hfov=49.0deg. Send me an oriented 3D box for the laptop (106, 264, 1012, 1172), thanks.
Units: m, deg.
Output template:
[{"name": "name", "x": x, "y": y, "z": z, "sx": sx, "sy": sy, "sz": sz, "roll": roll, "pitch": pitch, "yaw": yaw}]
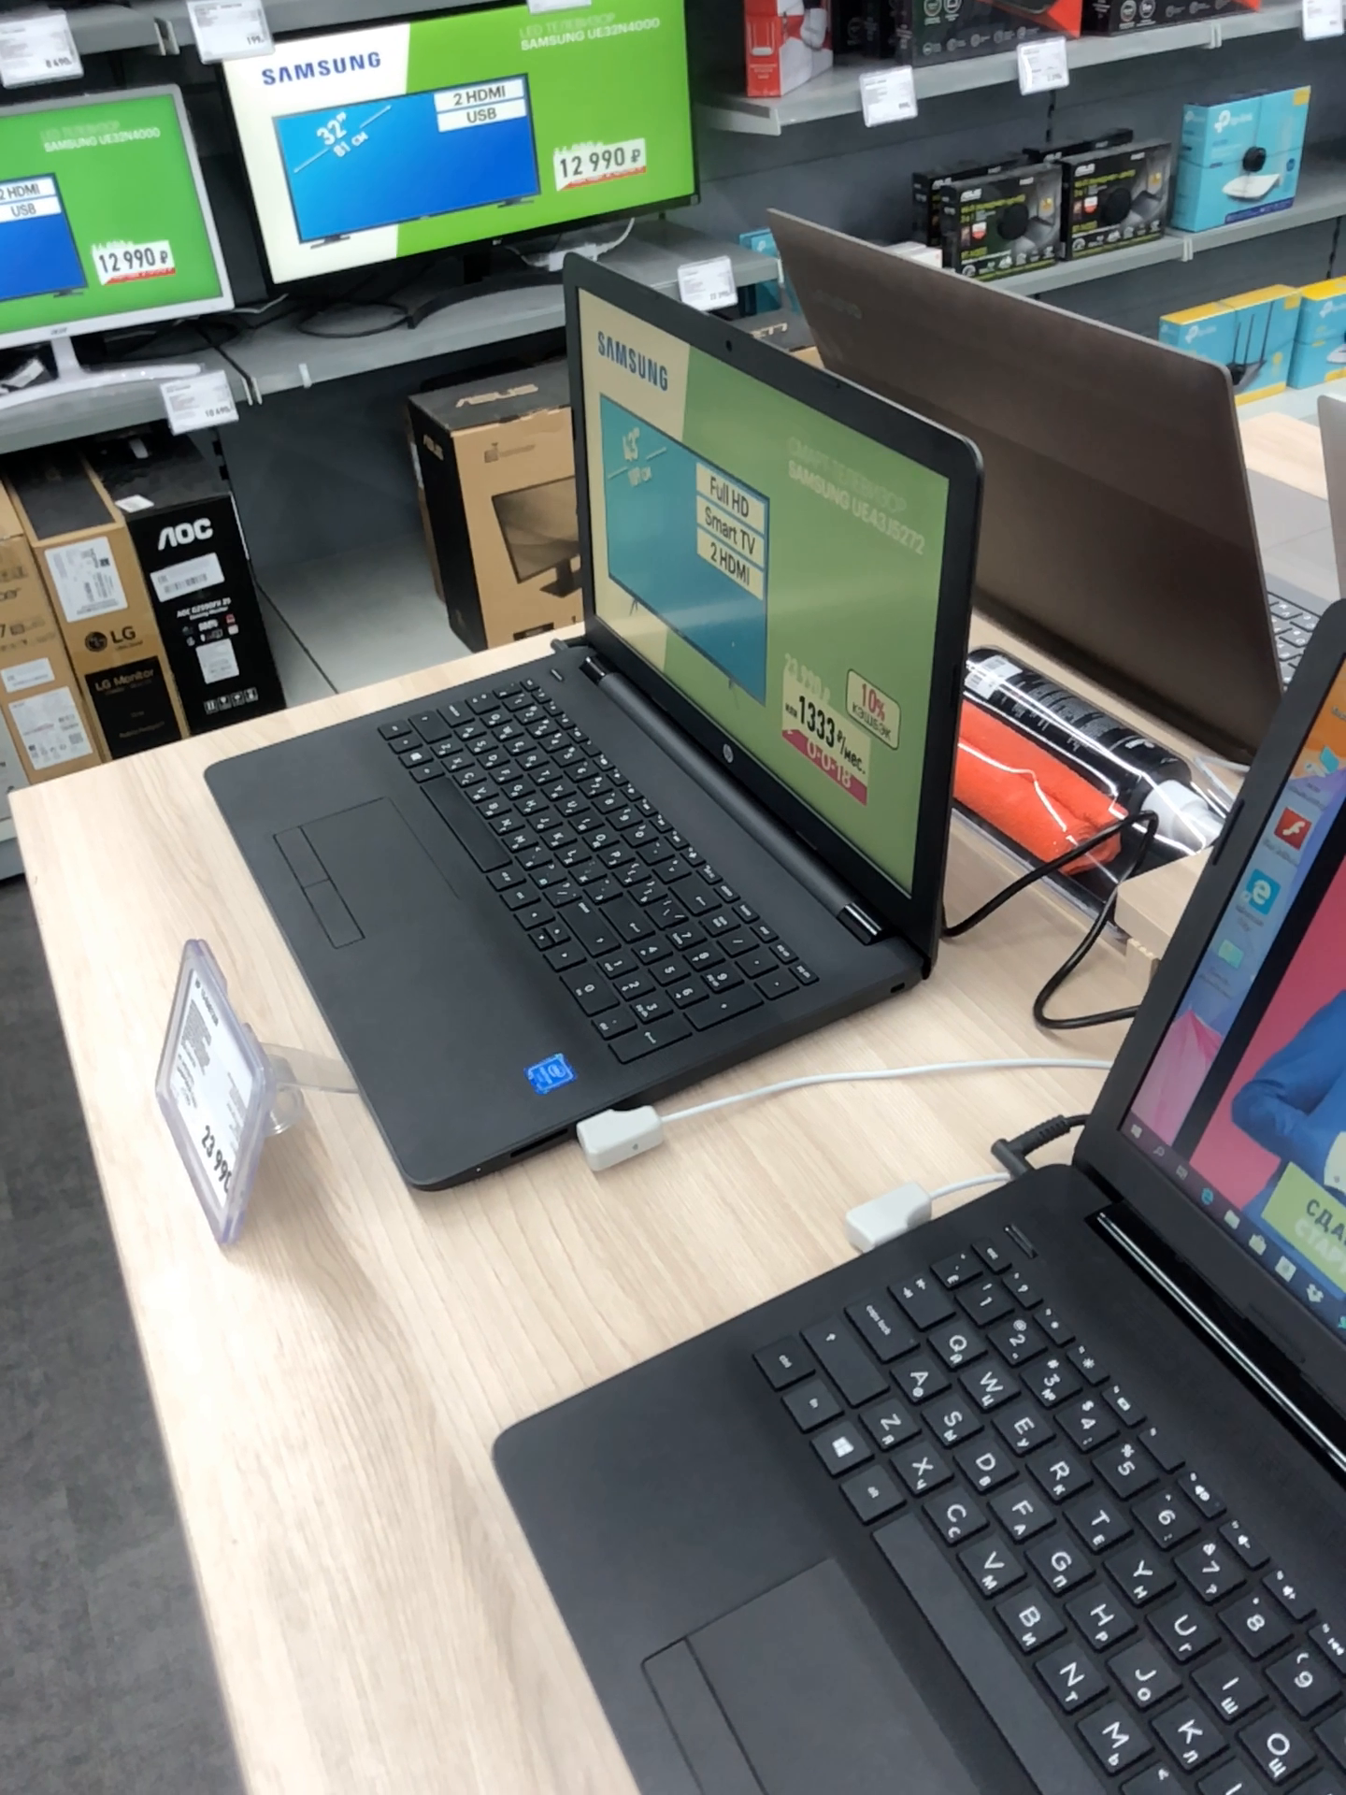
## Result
[{"name": "laptop", "x": -0.072, "y": -0.119, "z": 0.697, "sx": 0.273, "sy": 0.222, "sz": 0.363, "roll": -20, "pitch": 39, "yaw": -18}]
